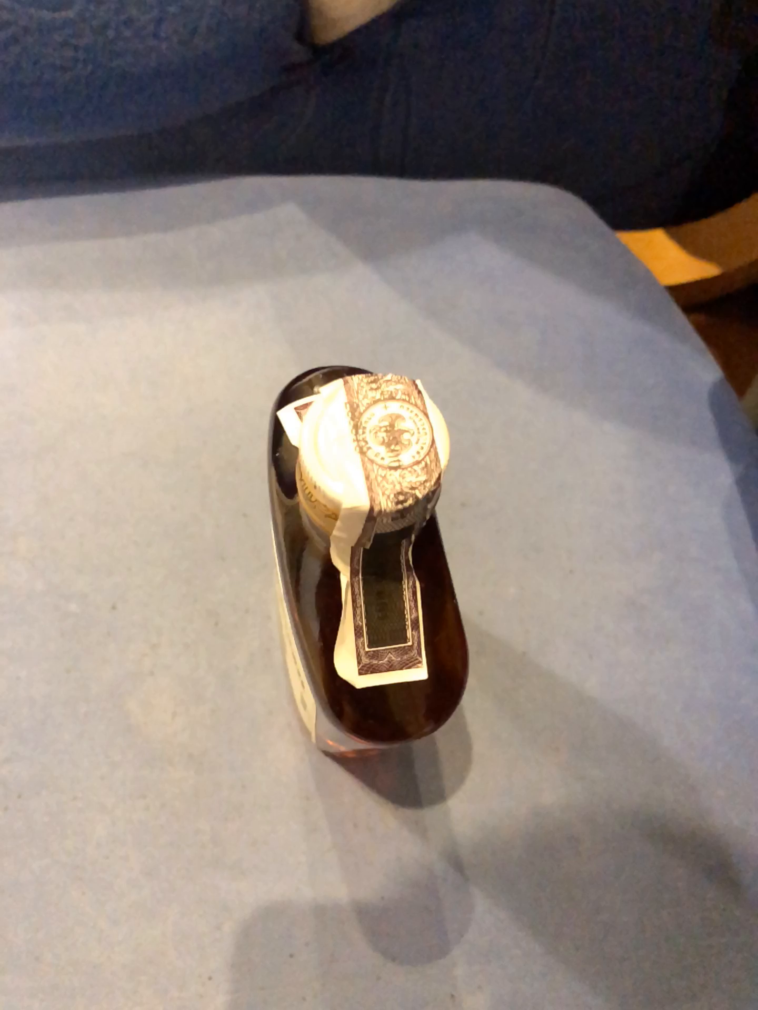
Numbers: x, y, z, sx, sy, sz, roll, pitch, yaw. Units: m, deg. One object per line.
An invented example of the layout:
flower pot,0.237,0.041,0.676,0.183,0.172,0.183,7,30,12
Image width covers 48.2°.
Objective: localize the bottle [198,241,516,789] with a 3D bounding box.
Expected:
bottle,-0.009,0.024,0.235,0.041,0.179,0.090,-10,70,-5
